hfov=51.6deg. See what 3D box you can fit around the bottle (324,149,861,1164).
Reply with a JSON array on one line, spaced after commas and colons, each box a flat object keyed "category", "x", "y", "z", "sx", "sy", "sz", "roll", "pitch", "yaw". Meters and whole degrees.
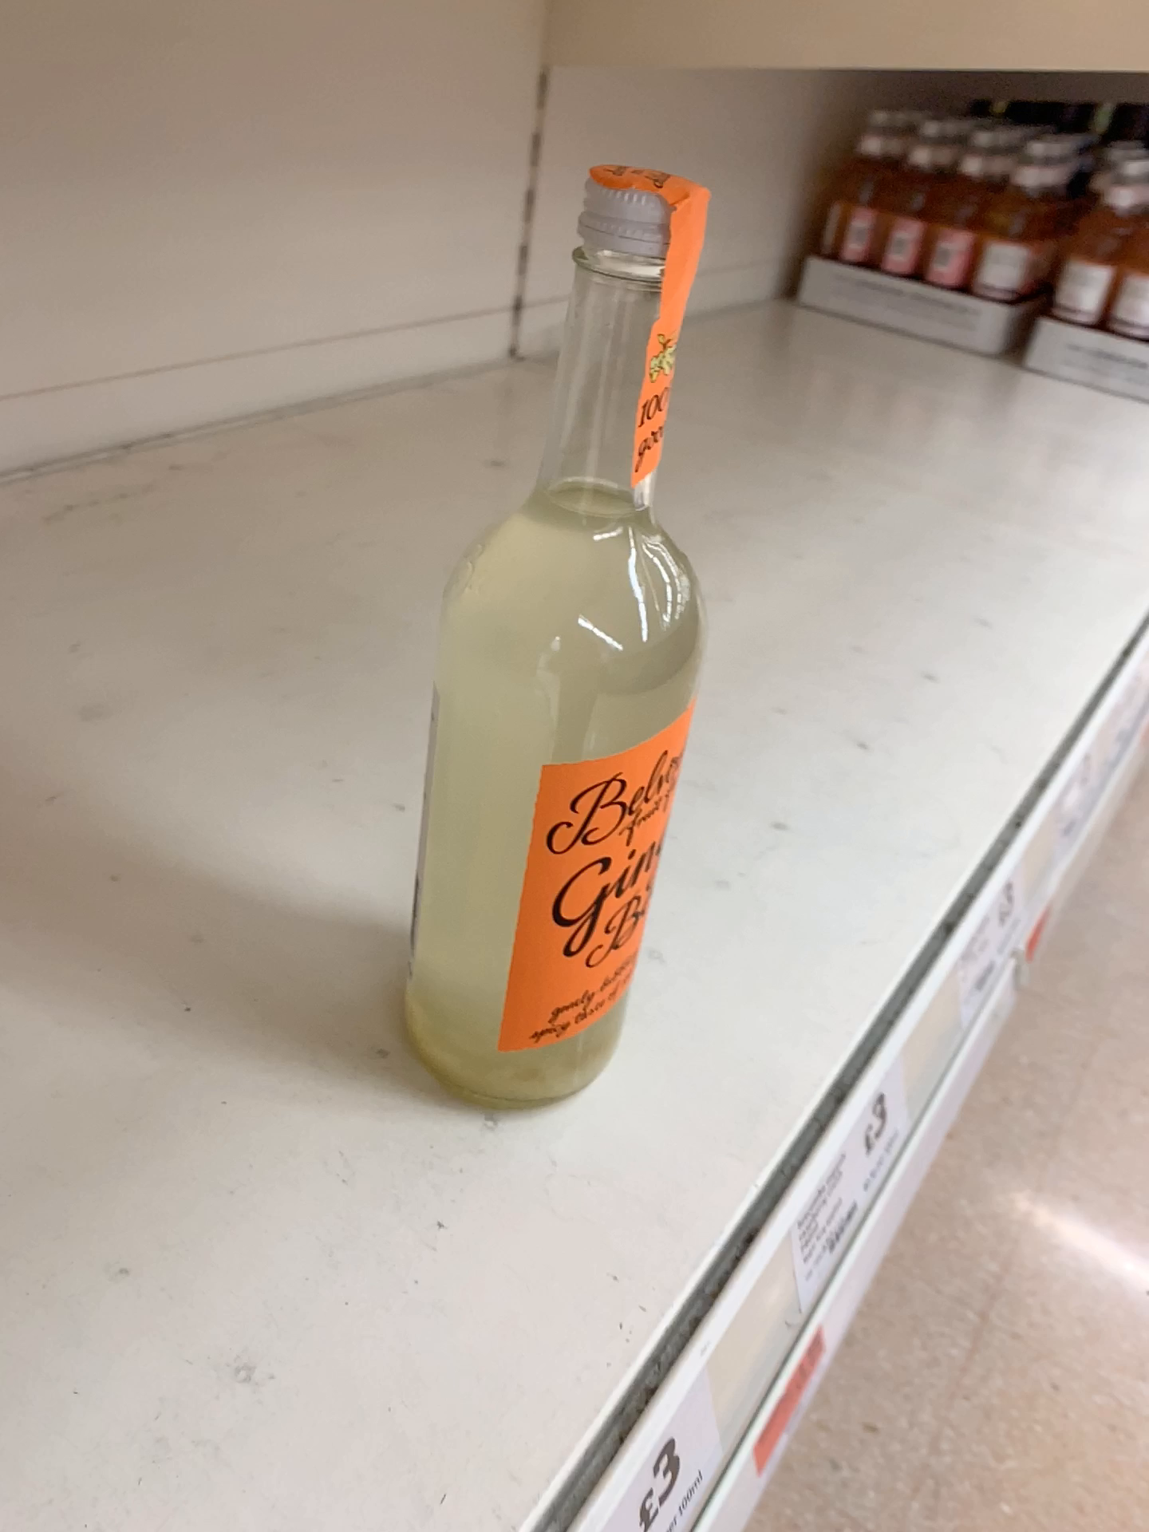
[{"category": "bottle", "x": -0.009, "y": -0.023, "z": 0.358, "sx": 0.090, "sy": 0.277, "sz": 0.084, "roll": 7, "pitch": 32, "yaw": -4}]
